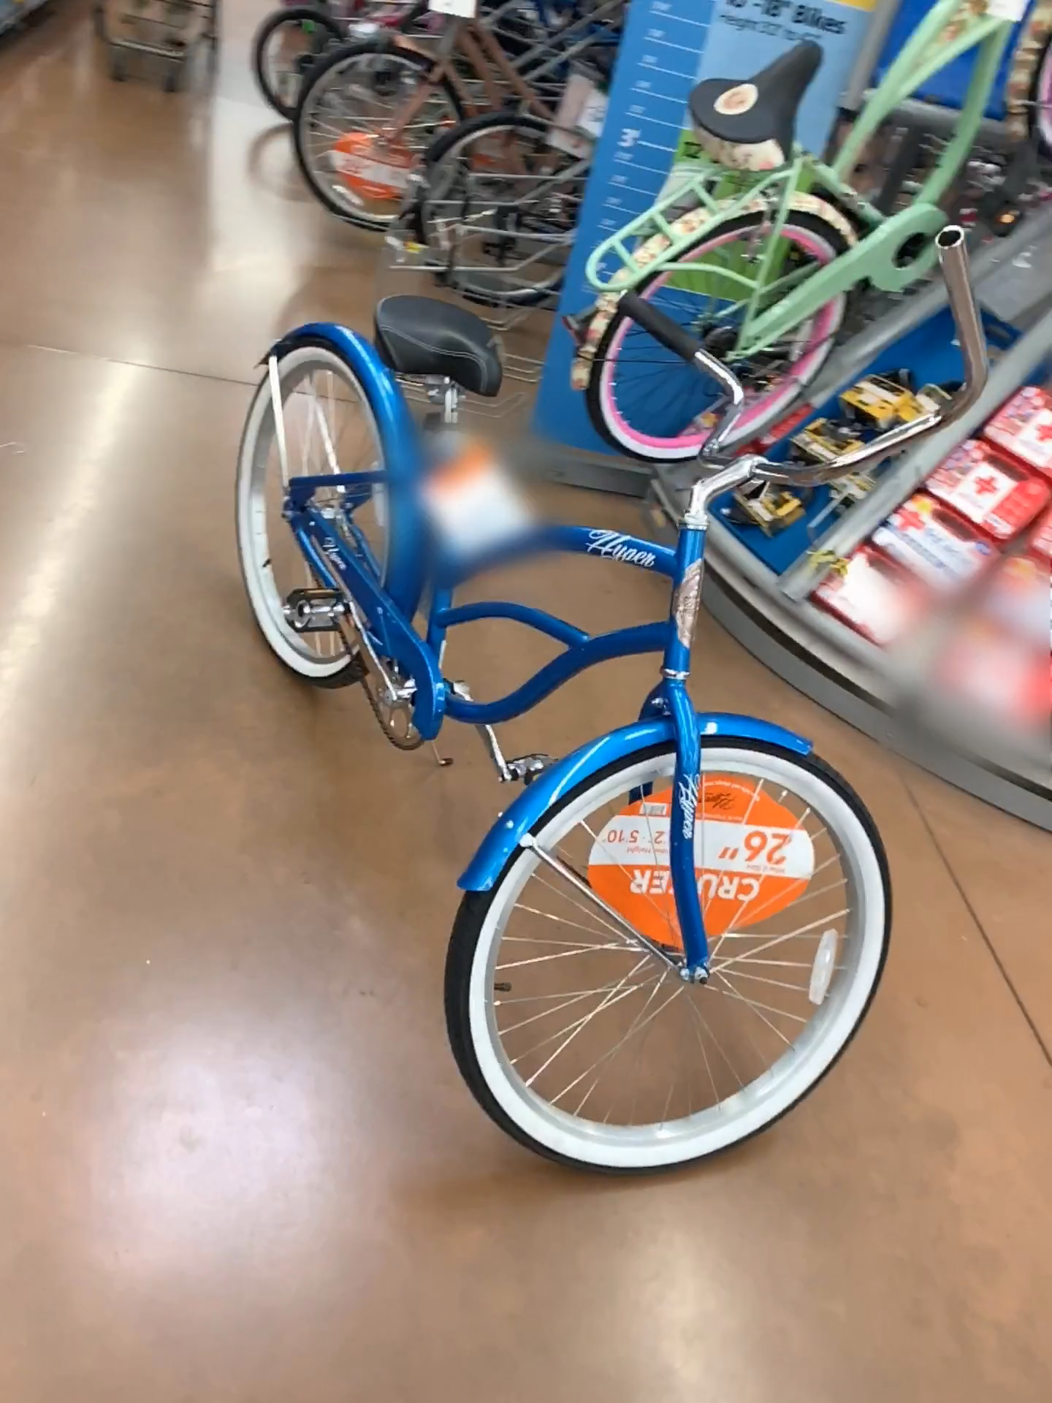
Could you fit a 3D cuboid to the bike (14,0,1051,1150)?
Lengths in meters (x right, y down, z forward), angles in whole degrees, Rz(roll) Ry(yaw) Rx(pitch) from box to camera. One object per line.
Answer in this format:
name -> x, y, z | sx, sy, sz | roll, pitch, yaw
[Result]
bike -> 0.053, -0.350, 1.737 | 0.876, 1.208, 1.531 | -23, 54, -40
